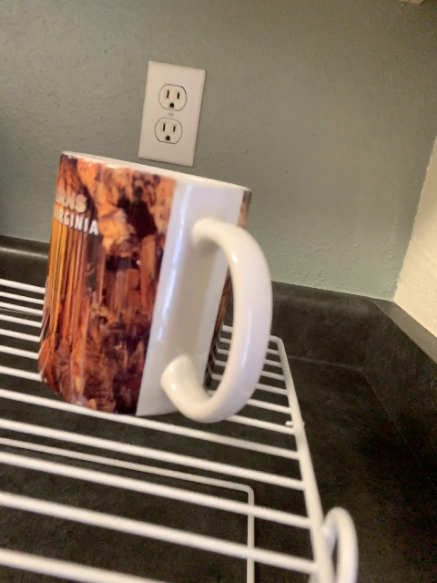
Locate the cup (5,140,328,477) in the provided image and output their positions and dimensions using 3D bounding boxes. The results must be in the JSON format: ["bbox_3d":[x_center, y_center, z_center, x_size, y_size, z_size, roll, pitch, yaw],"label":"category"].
[{"bbox_3d":[-0.035,-0.007,0.190,0.080,0.090,0.120,0,17,-33],"label":"cup"}]
